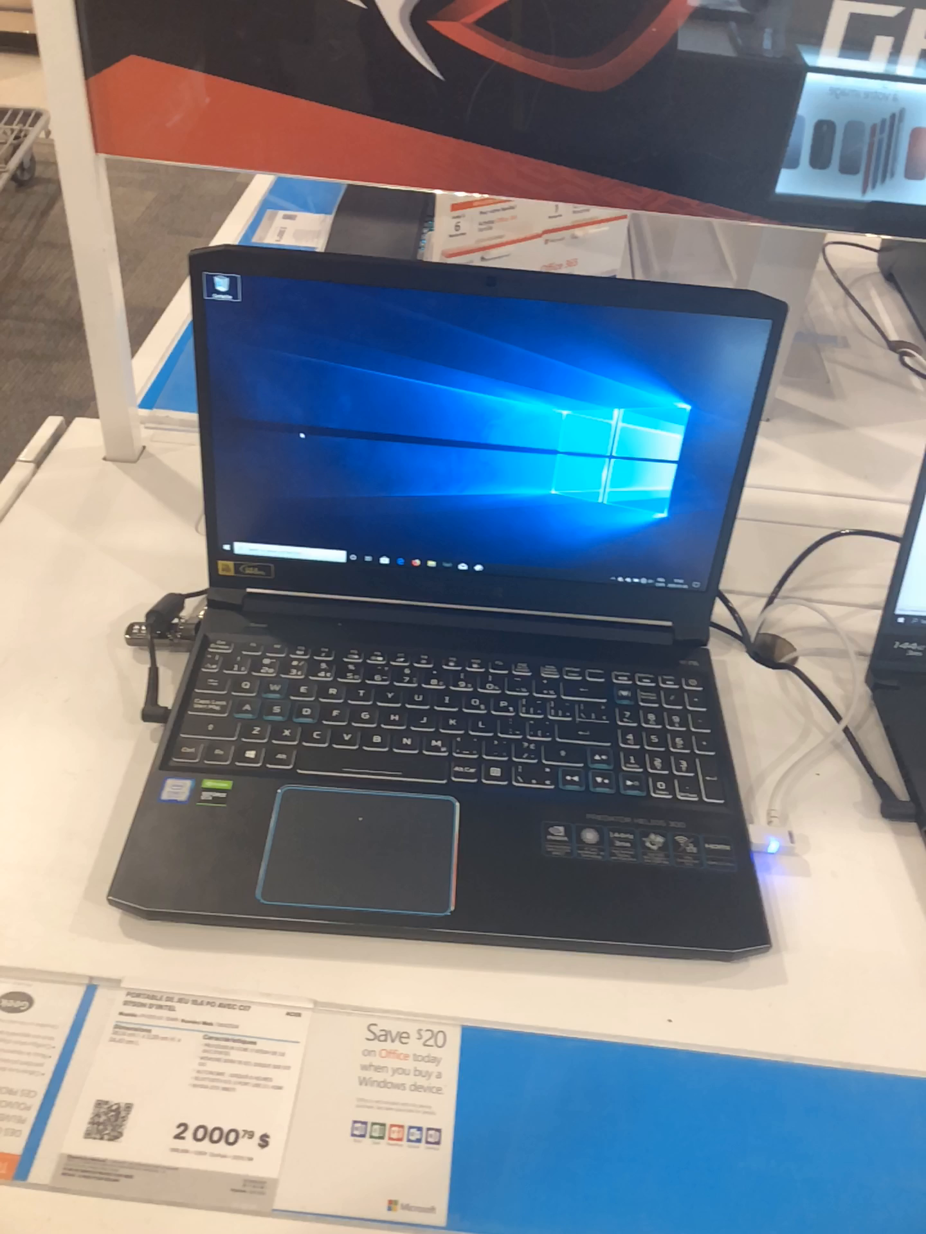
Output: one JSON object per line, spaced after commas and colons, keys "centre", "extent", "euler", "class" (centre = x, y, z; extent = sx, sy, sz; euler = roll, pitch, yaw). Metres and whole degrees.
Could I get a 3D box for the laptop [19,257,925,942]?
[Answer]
{"centre": [0.004, -0.017, 0.565], "extent": [0.348, 0.230, 0.274], "euler": [5, 42, 0], "class": "laptop"}
